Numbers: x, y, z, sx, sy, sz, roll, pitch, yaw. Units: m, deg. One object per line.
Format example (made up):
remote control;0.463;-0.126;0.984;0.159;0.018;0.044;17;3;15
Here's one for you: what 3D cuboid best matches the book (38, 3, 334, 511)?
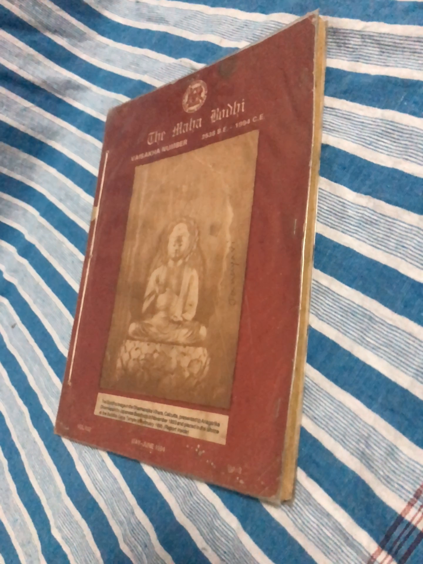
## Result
book;-0.022;-0.020;0.285;0.181;0.020;0.250;-4;73;39
